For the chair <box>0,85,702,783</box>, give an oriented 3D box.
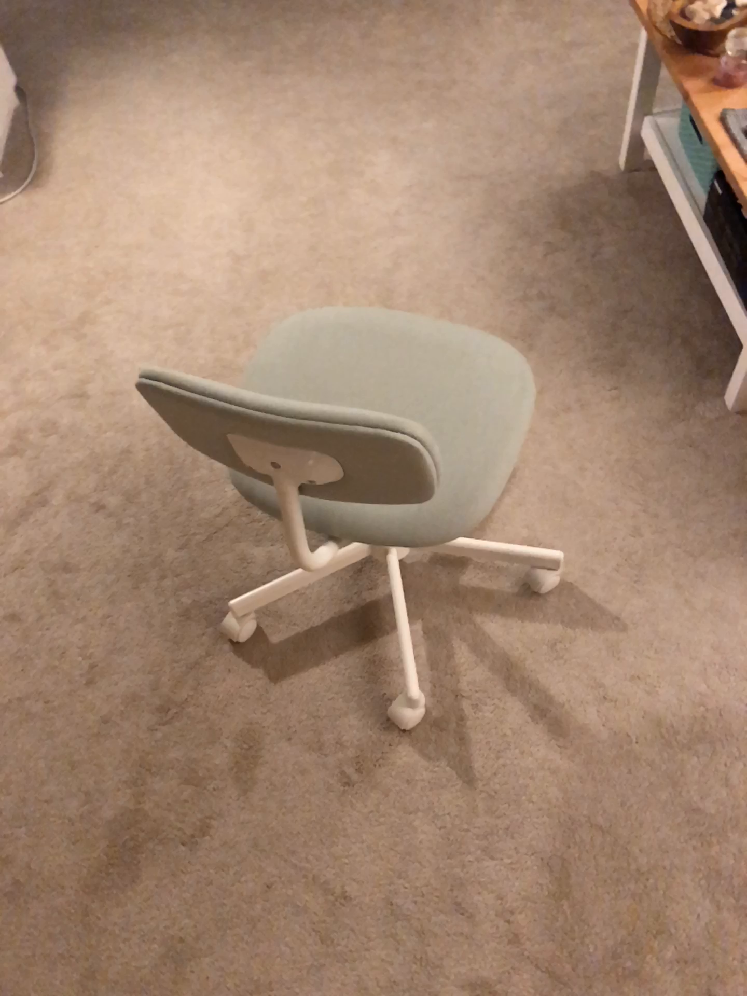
[{"bbox_3d":[0.018,-0.087,1.248,0.660,0.677,0.643,17,60,17],"label":"chair"}]
